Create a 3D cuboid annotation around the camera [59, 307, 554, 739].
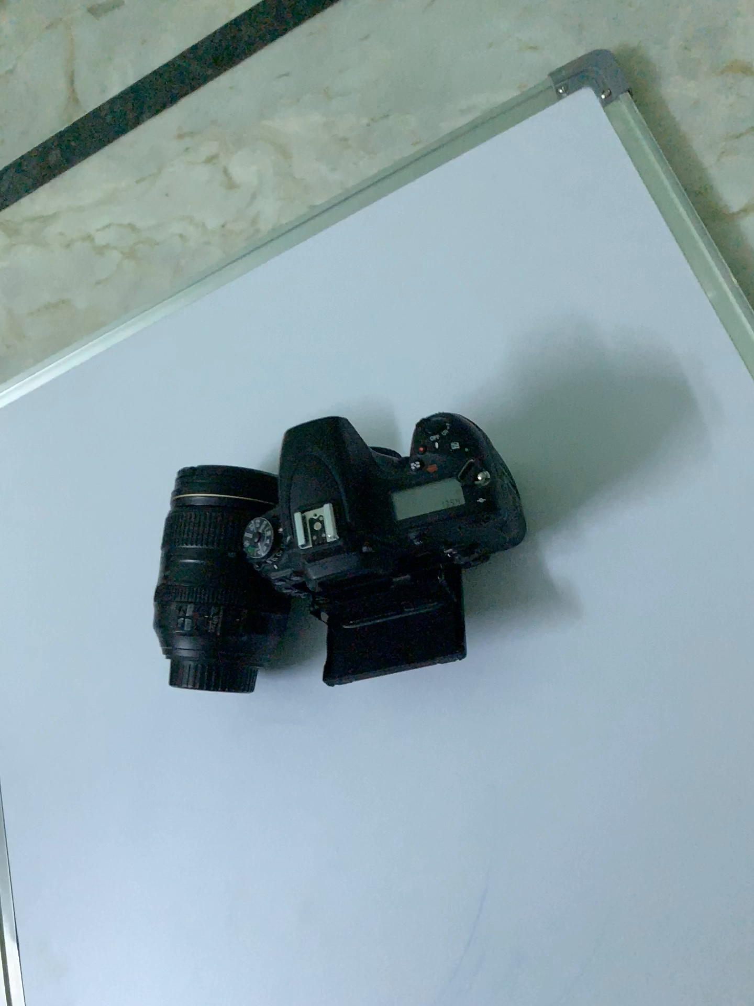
[{"bbox_3d":[-0.046,0.024,0.449,0.240,0.100,0.160,-20,69,16],"label":"camera"}]
